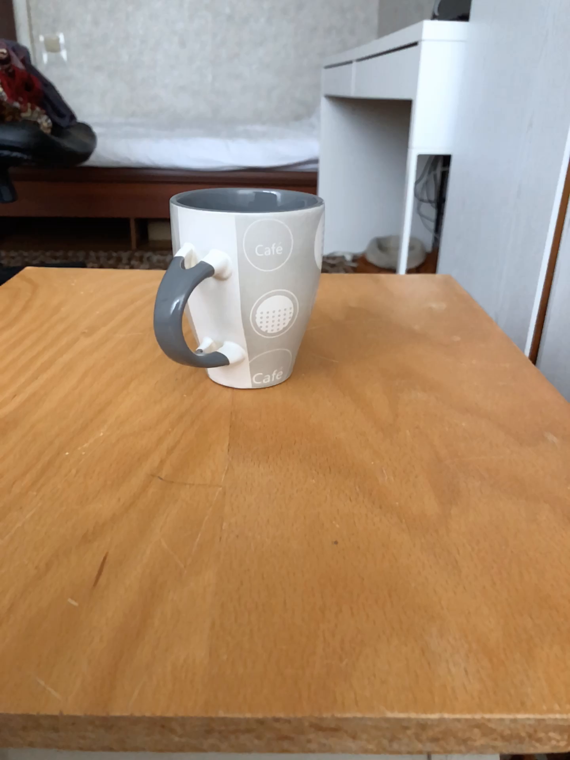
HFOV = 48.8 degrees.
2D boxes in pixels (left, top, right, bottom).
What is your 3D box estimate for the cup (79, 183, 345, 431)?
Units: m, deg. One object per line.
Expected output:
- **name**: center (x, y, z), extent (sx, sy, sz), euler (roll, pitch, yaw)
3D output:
- **cup**: center (-0.029, -0.049, 0.339), extent (0.084, 0.093, 0.127), euler (10, 25, 21)
